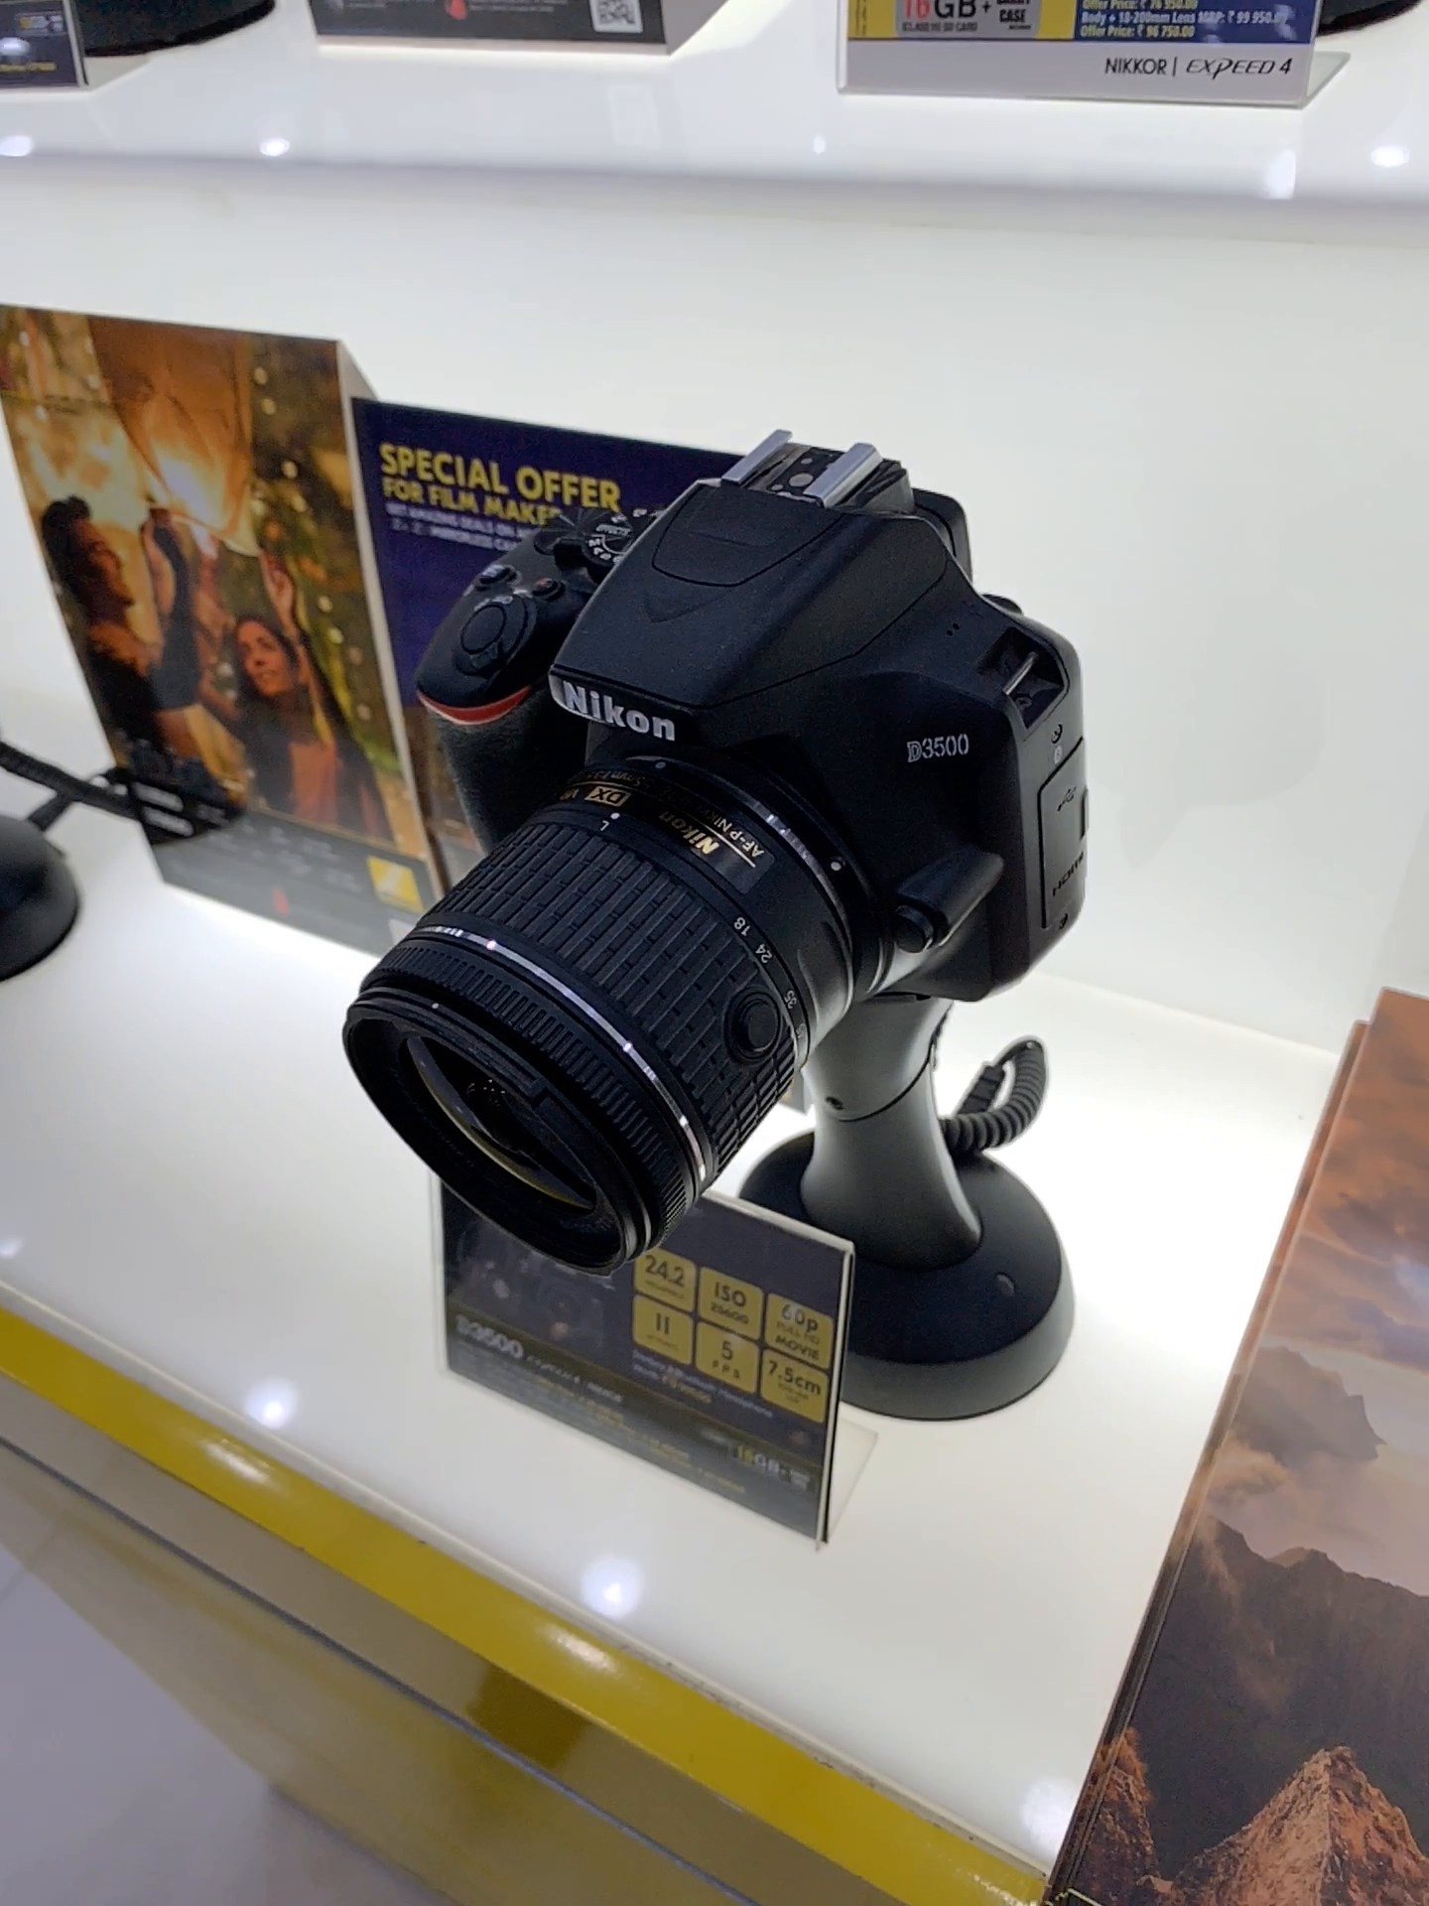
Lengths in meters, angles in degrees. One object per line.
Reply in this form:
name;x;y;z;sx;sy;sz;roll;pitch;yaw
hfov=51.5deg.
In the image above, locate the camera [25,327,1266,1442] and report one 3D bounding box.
camera;0.001;-0.027;0.233;0.110;0.070;0.150;21;53;30
